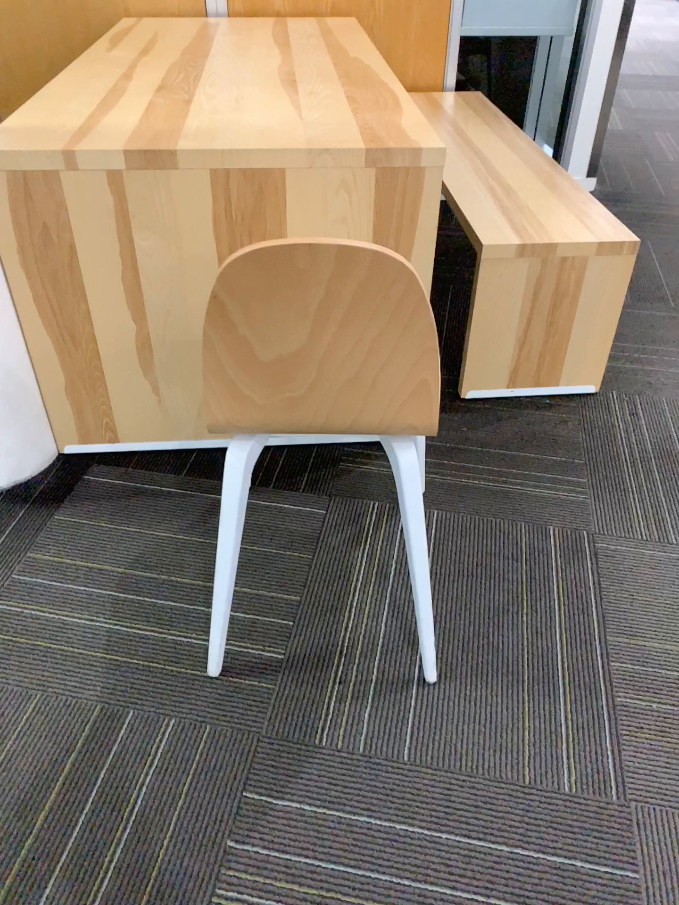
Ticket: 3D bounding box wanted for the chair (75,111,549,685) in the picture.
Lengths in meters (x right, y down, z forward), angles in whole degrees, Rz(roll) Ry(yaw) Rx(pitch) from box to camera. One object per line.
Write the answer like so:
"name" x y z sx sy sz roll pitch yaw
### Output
"chair" -0.034 -0.079 1.202 0.500 0.815 0.553 1 39 0
